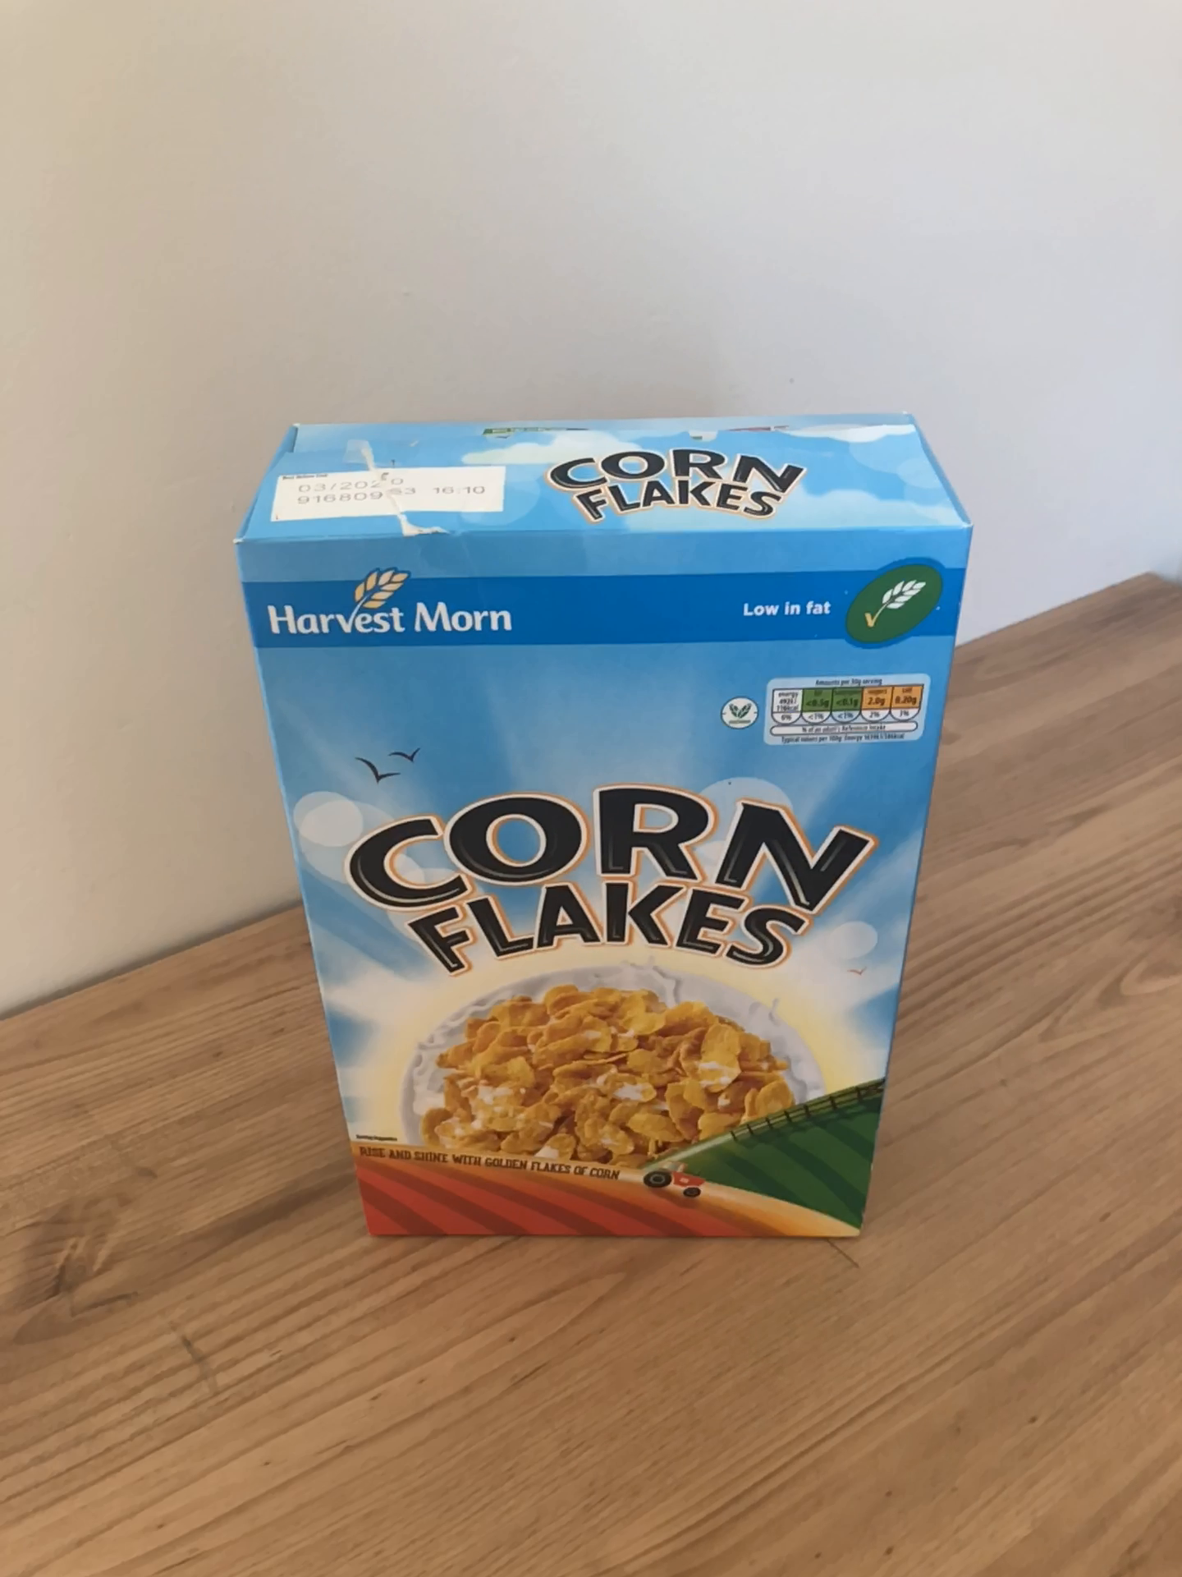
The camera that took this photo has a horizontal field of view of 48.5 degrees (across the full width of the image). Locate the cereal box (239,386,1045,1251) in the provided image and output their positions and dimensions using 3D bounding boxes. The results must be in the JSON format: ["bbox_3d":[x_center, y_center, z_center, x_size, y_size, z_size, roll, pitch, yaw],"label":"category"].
[{"bbox_3d":[0.016,0.030,0.448,0.200,0.308,0.081,0,36,2],"label":"cereal box"}]
